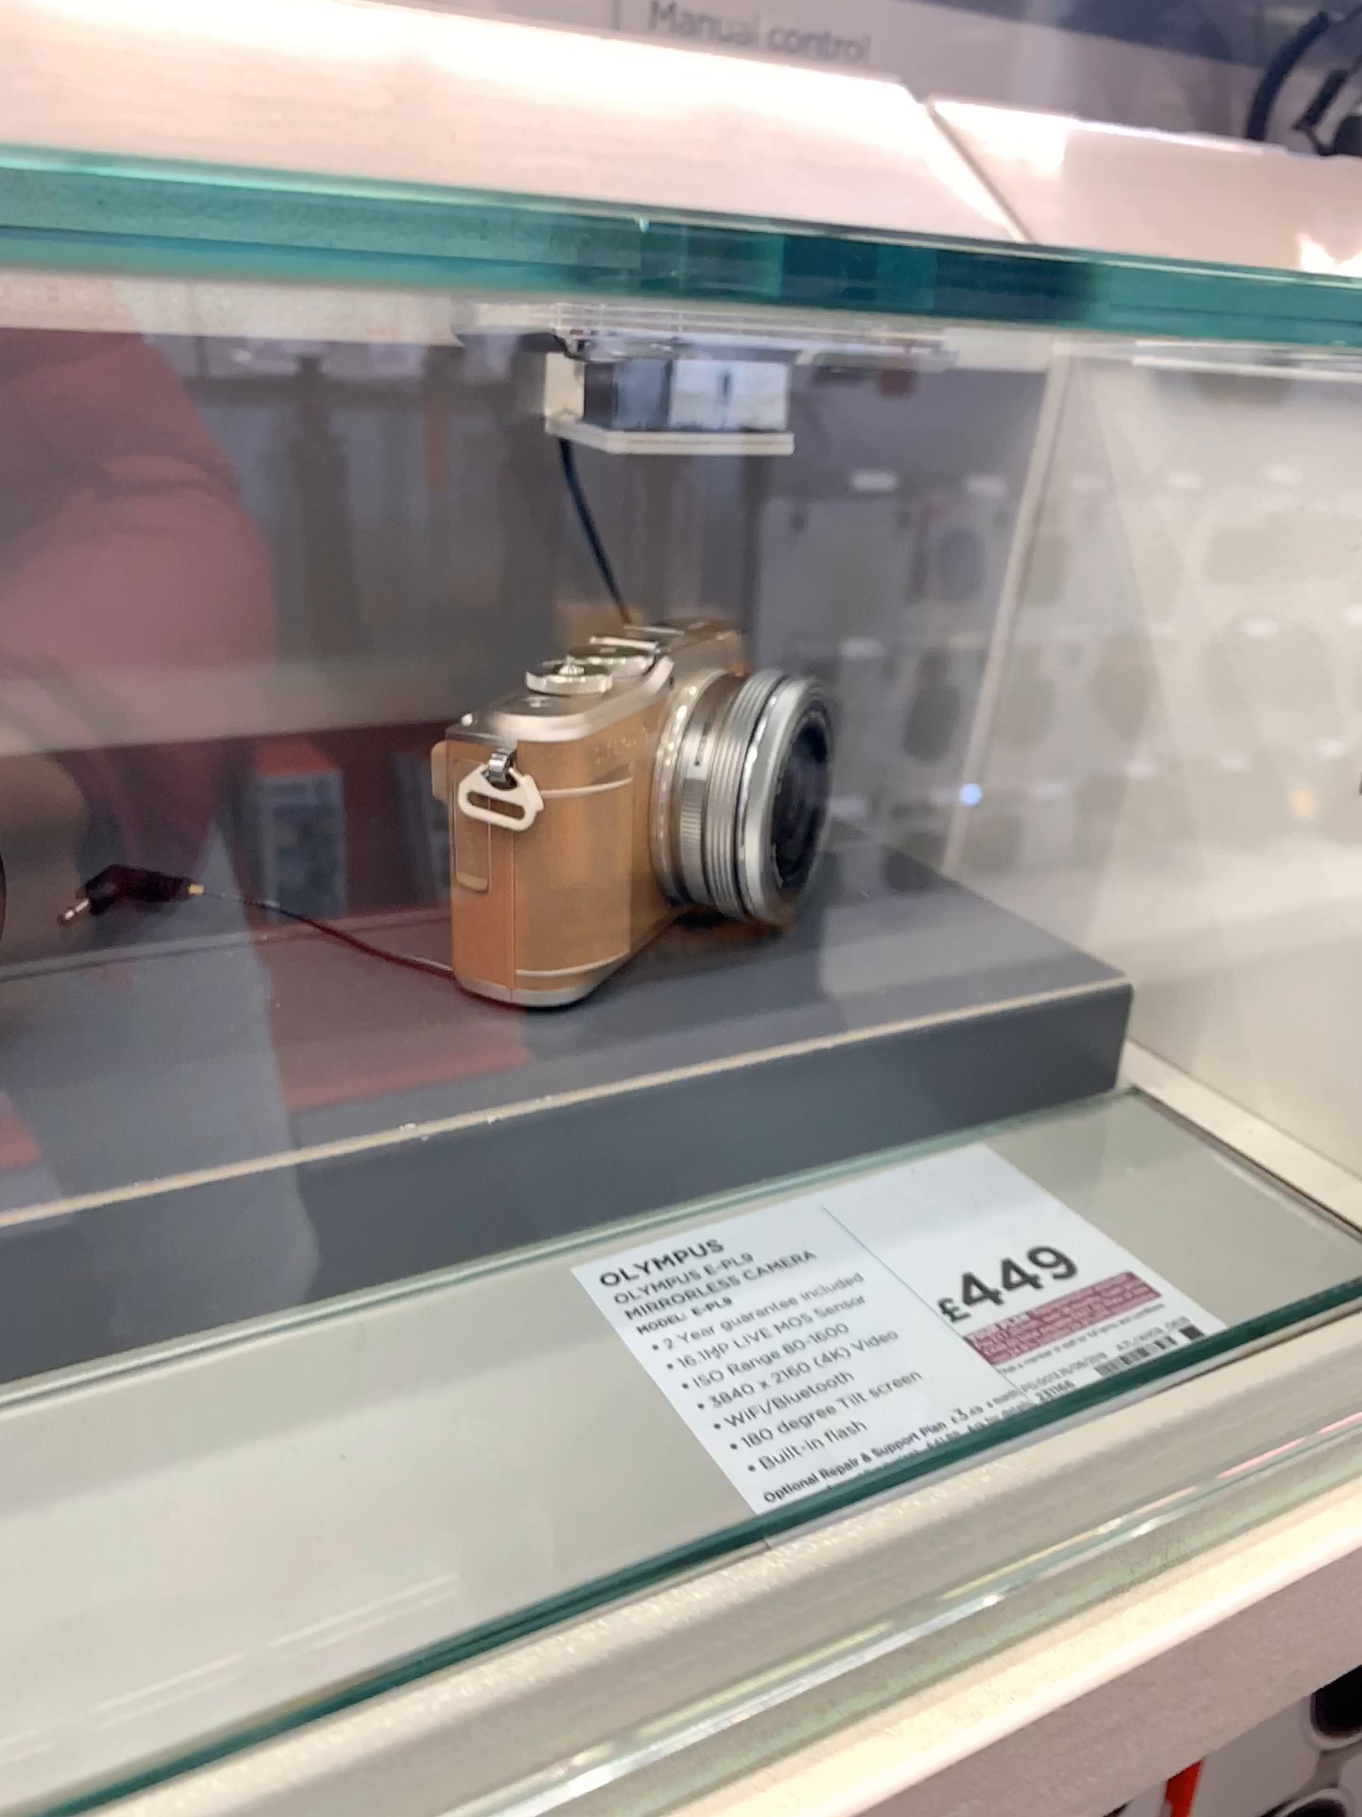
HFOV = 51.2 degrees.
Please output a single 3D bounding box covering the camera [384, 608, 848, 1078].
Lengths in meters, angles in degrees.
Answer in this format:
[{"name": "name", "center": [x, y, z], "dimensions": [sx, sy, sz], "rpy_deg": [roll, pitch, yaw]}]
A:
[{"name": "camera", "center": [-0.009, -0.024, 0.334], "dimensions": [0.060, 0.069, 0.121], "rpy_deg": [11, 23, 20]}]
